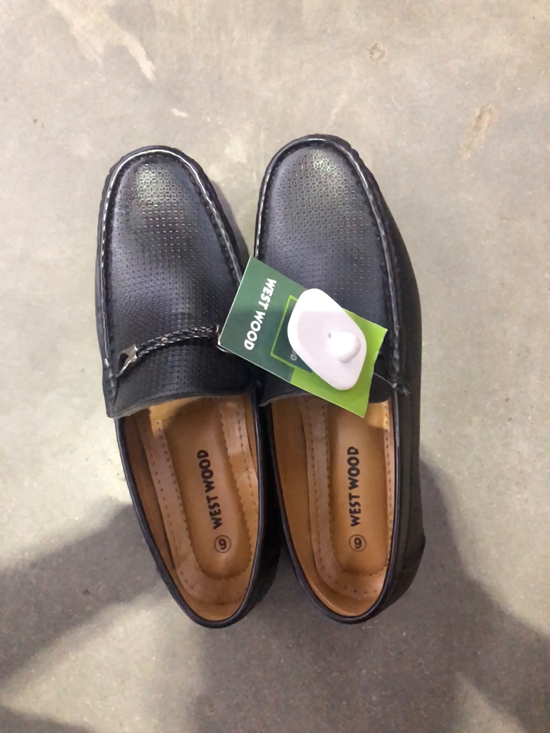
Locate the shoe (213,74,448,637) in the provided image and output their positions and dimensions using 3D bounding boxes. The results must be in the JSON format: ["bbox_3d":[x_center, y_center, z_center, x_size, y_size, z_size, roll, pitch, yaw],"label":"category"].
[{"bbox_3d":[0.033,-0.004,0.346,0.090,0.070,0.280,-7,86,12],"label":"shoe"}]

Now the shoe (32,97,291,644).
[{"bbox_3d":[-0.062,0.000,0.360,0.100,0.070,0.280,-9,87,0],"label":"shoe"}]
